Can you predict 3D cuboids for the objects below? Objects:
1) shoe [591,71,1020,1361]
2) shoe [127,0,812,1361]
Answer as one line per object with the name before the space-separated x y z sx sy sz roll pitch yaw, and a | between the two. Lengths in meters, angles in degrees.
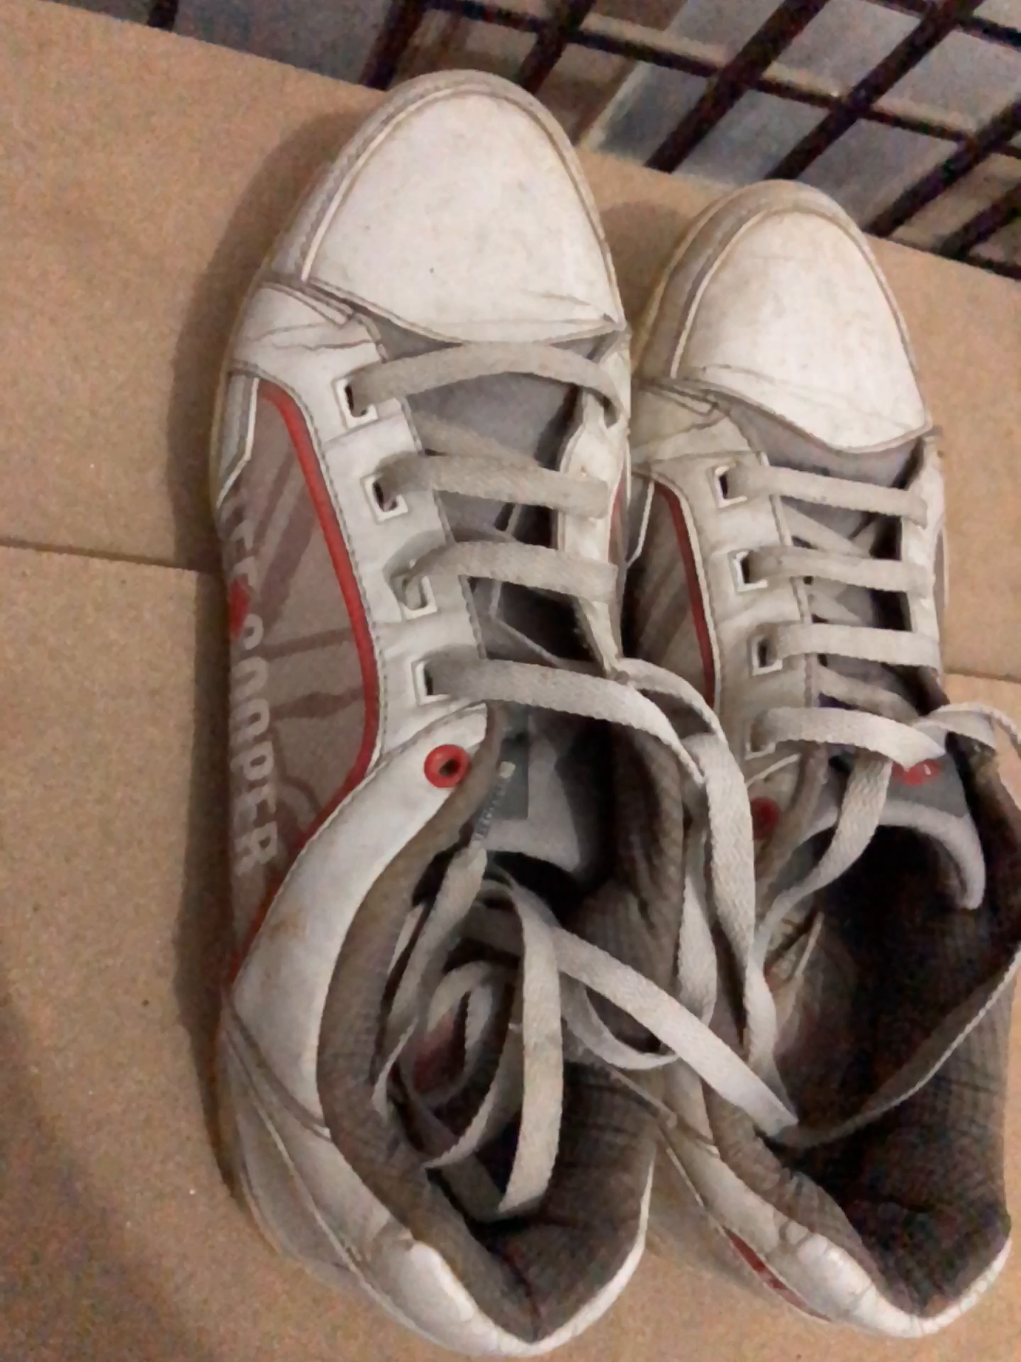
shoe | 0.086 0.007 0.280 0.100 0.080 0.270 6 75 -24
shoe | -0.012 -0.010 0.237 0.100 0.080 0.270 6 75 -24
